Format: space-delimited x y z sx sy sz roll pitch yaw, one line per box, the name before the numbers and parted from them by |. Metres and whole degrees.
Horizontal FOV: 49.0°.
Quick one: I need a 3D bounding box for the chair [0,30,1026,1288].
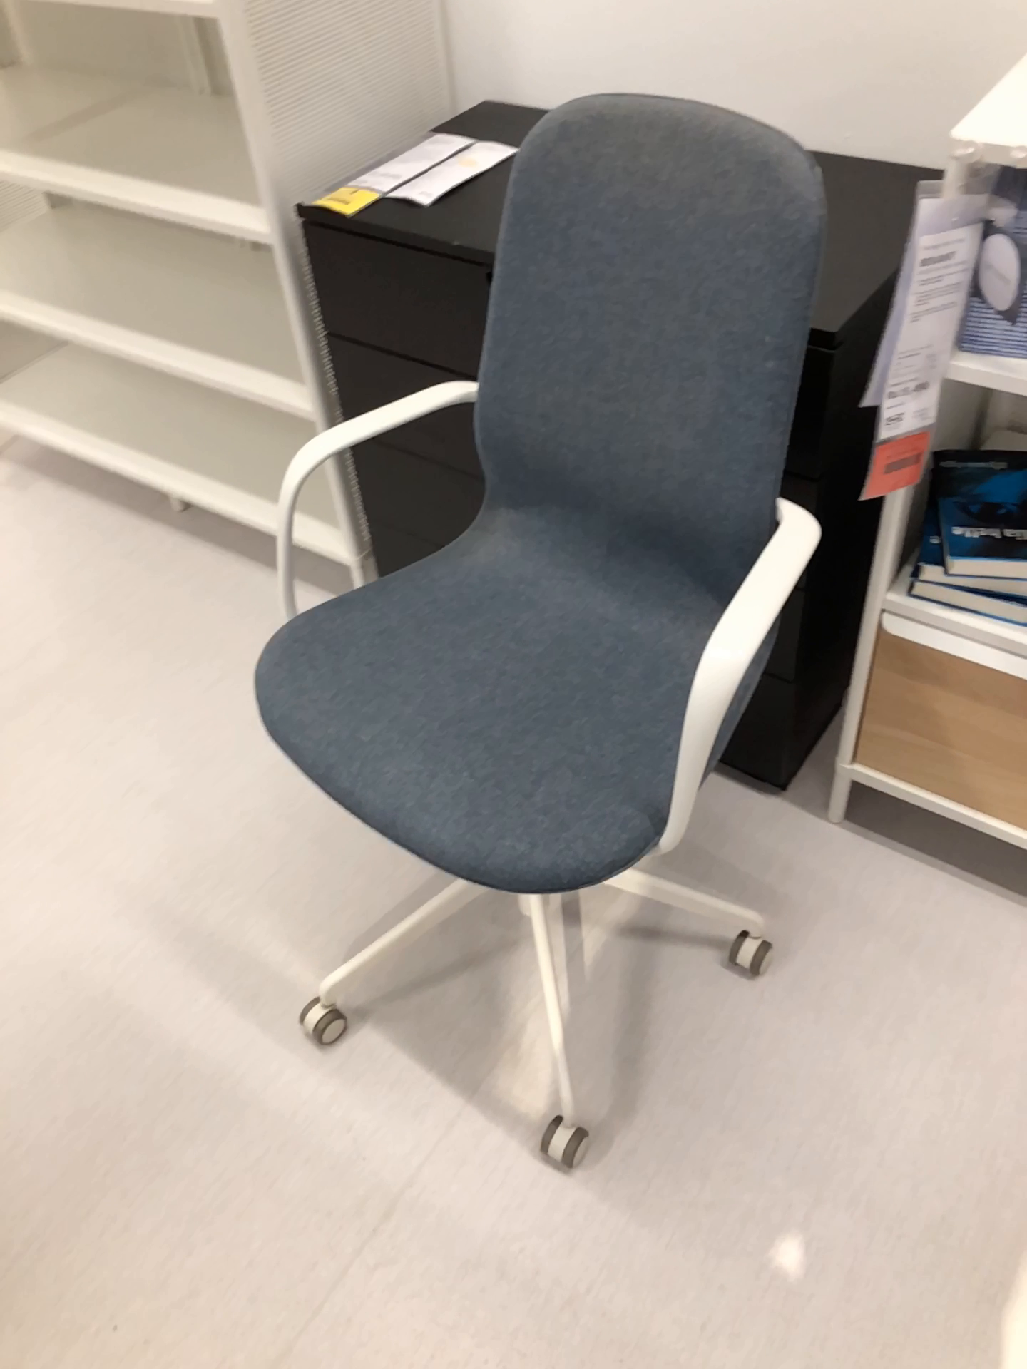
chair | -0.031 -0.020 1.248 0.701 0.993 0.704 -25 47 -17
